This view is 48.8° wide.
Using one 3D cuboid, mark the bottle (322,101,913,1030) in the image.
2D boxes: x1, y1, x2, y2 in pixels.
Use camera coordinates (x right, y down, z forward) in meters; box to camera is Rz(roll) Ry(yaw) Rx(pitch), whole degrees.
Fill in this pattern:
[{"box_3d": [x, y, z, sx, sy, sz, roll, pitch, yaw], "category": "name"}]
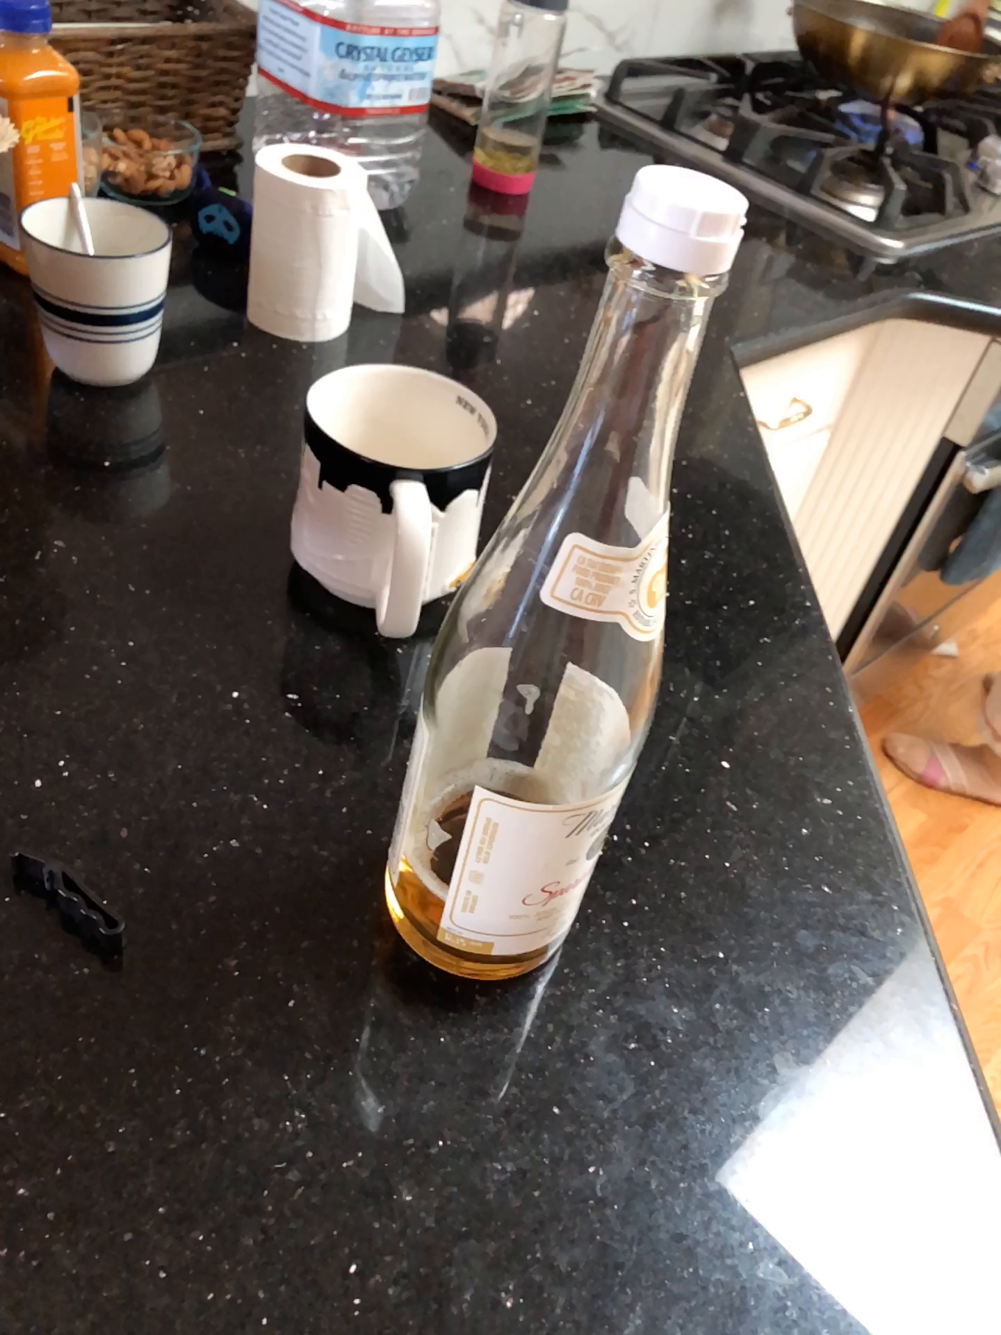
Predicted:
[{"box_3d": [0.020, -0.014, 0.370, 0.098, 0.288, 0.094, 8, 41, -7], "category": "bottle"}]
